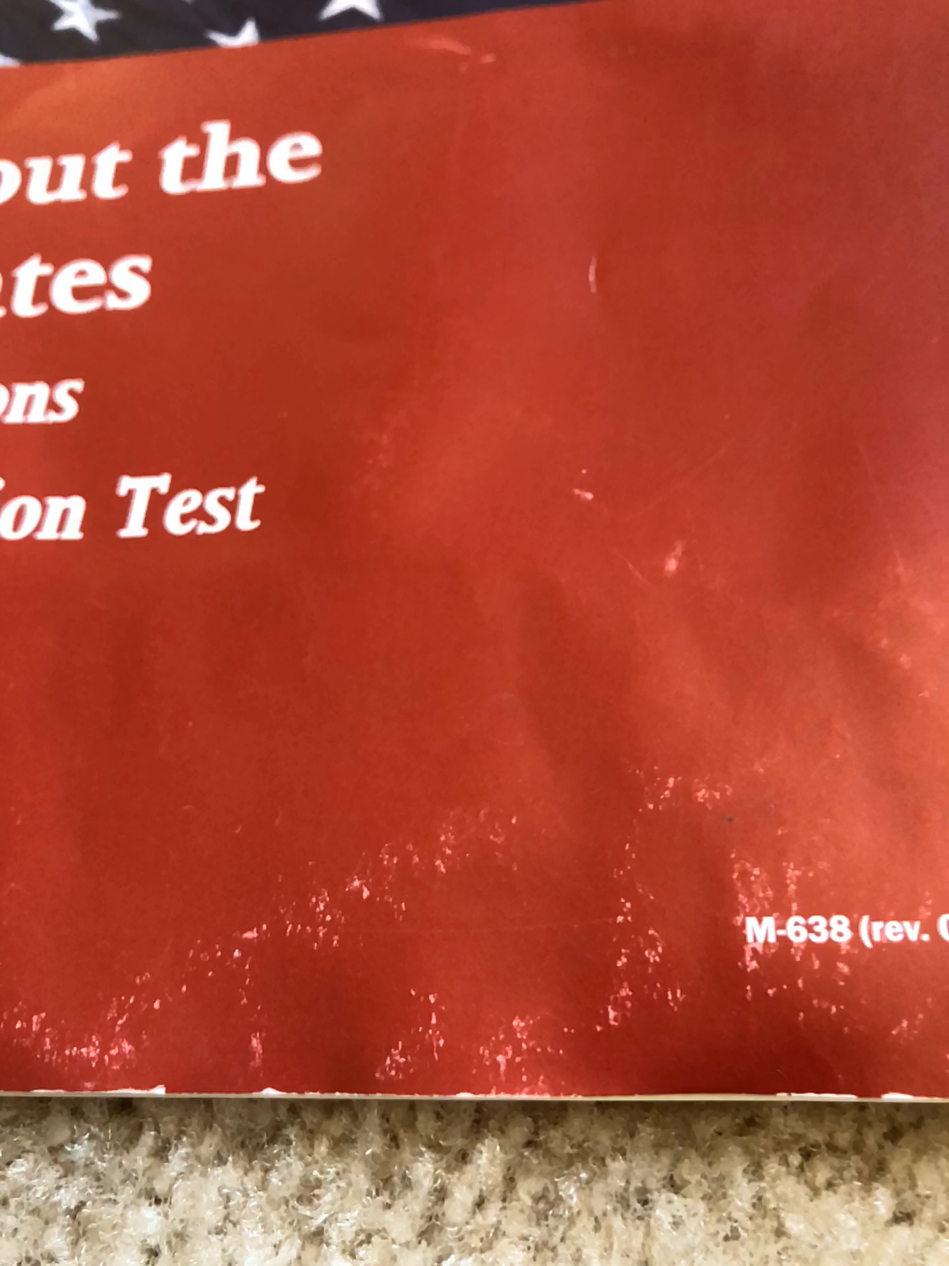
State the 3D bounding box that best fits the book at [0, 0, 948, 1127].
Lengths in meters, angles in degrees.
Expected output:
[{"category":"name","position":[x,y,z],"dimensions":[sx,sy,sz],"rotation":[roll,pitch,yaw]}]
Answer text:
[{"category":"book","position":[-0.037,-0.079,0.160],"dimensions":[0.208,0.028,0.274],"rotation":[-2,66,5]}]
